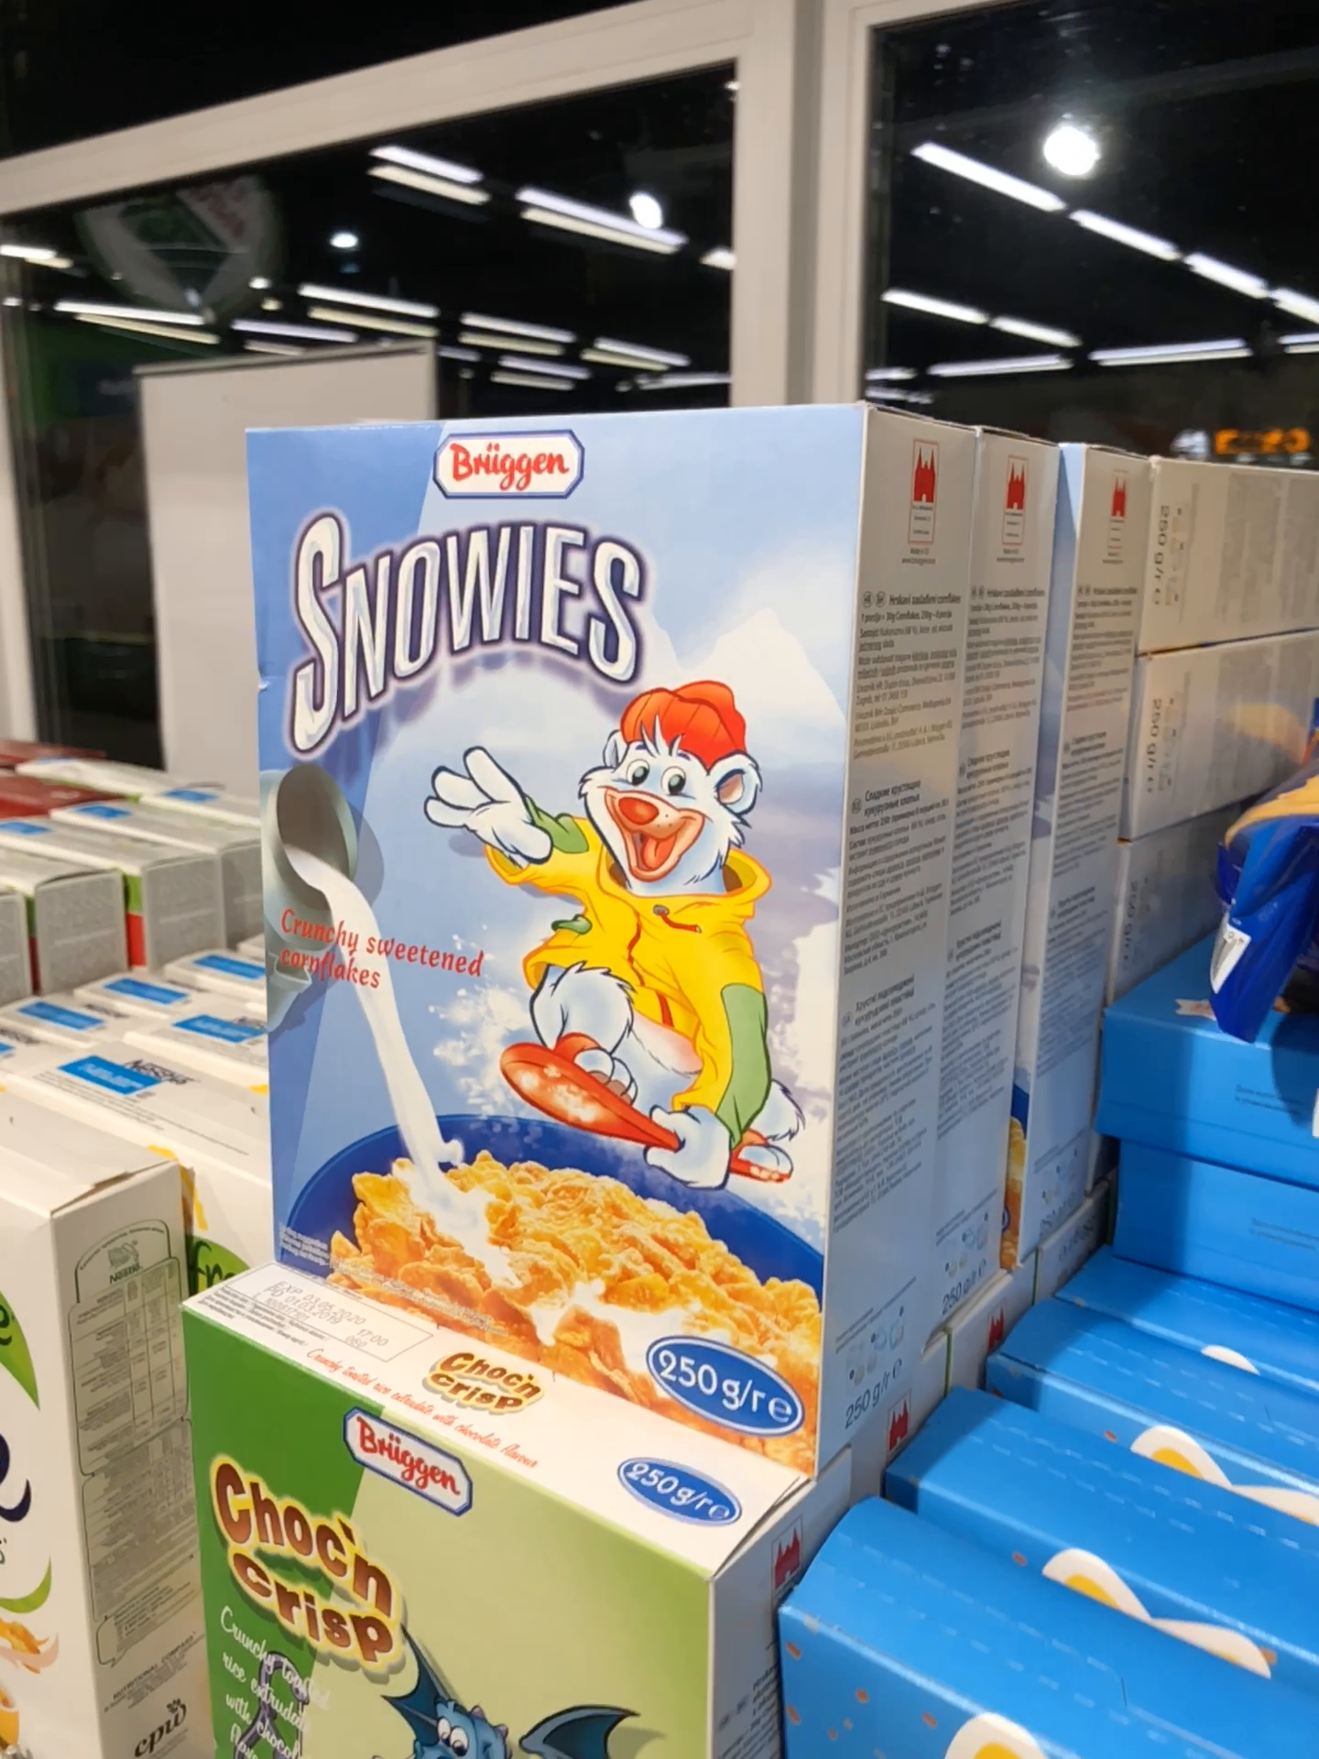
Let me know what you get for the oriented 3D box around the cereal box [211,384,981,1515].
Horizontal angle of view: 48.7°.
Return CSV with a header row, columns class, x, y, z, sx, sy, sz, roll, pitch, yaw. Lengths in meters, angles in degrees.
class,x,y,z,sx,sy,sz,roll,pitch,yaw
cereal box,-0.026,0.006,0.408,0.200,0.259,0.070,9,14,33
